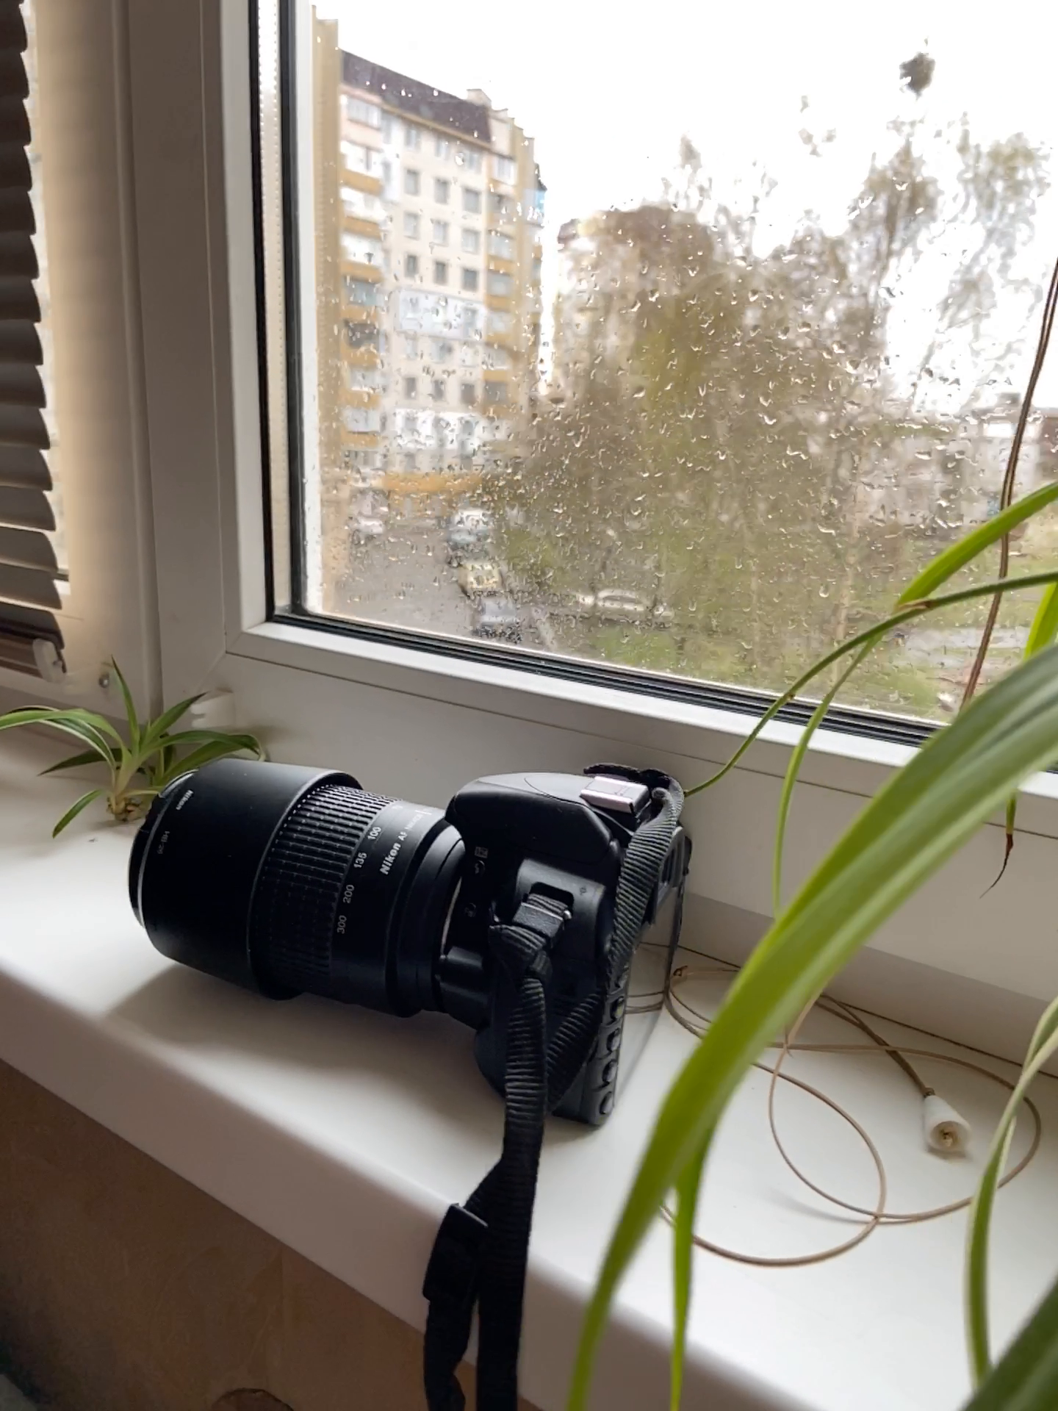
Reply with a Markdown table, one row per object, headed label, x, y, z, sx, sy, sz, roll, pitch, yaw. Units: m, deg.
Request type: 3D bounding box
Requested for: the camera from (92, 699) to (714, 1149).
| label | x | y | z | sx | sy | sz | roll | pitch | yaw |
| --- | --- | --- | --- | --- | --- | --- | --- | --- | --- |
| camera | -0.040 | 0.066 | 0.406 | 0.190 | 0.089 | 0.125 | 7 | 15 | 18 |
